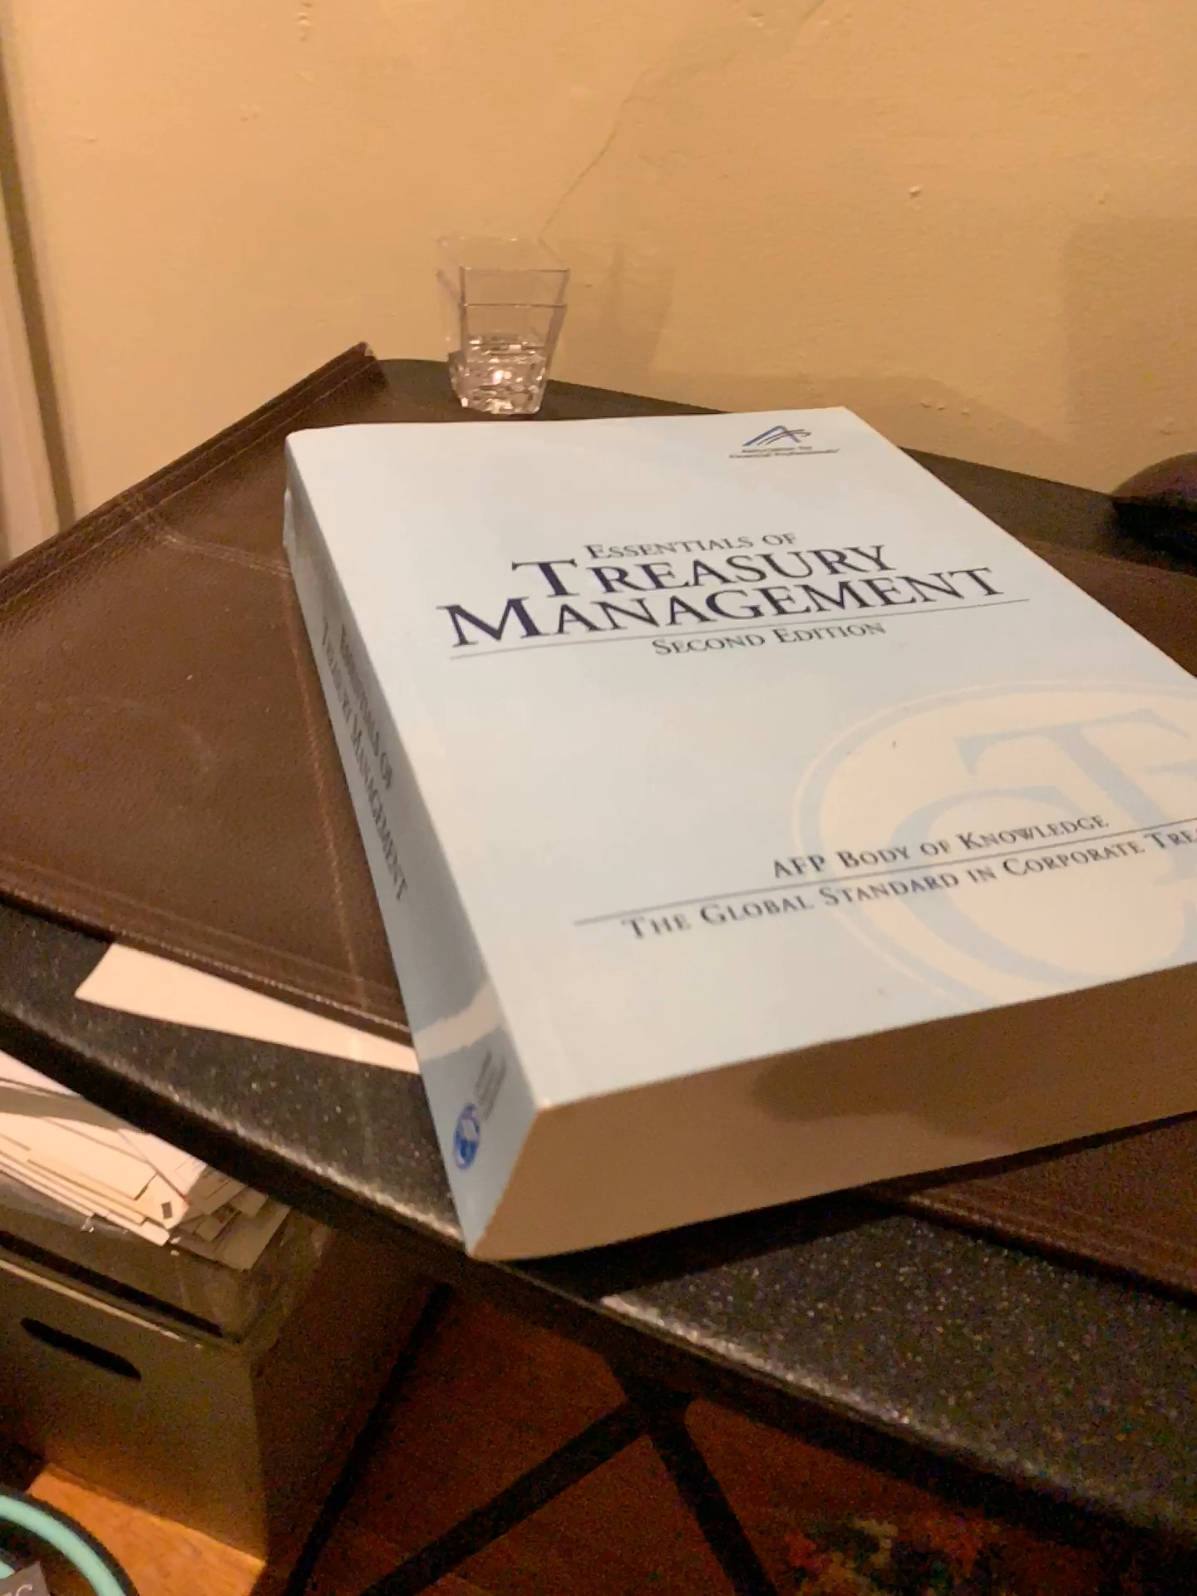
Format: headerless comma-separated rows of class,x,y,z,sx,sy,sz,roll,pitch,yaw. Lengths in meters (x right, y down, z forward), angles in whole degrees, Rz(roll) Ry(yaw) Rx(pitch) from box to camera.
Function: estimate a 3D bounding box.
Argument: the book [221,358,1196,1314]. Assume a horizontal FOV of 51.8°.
book,0.026,-0.039,0.339,0.220,0.060,0.302,-7,40,-18
